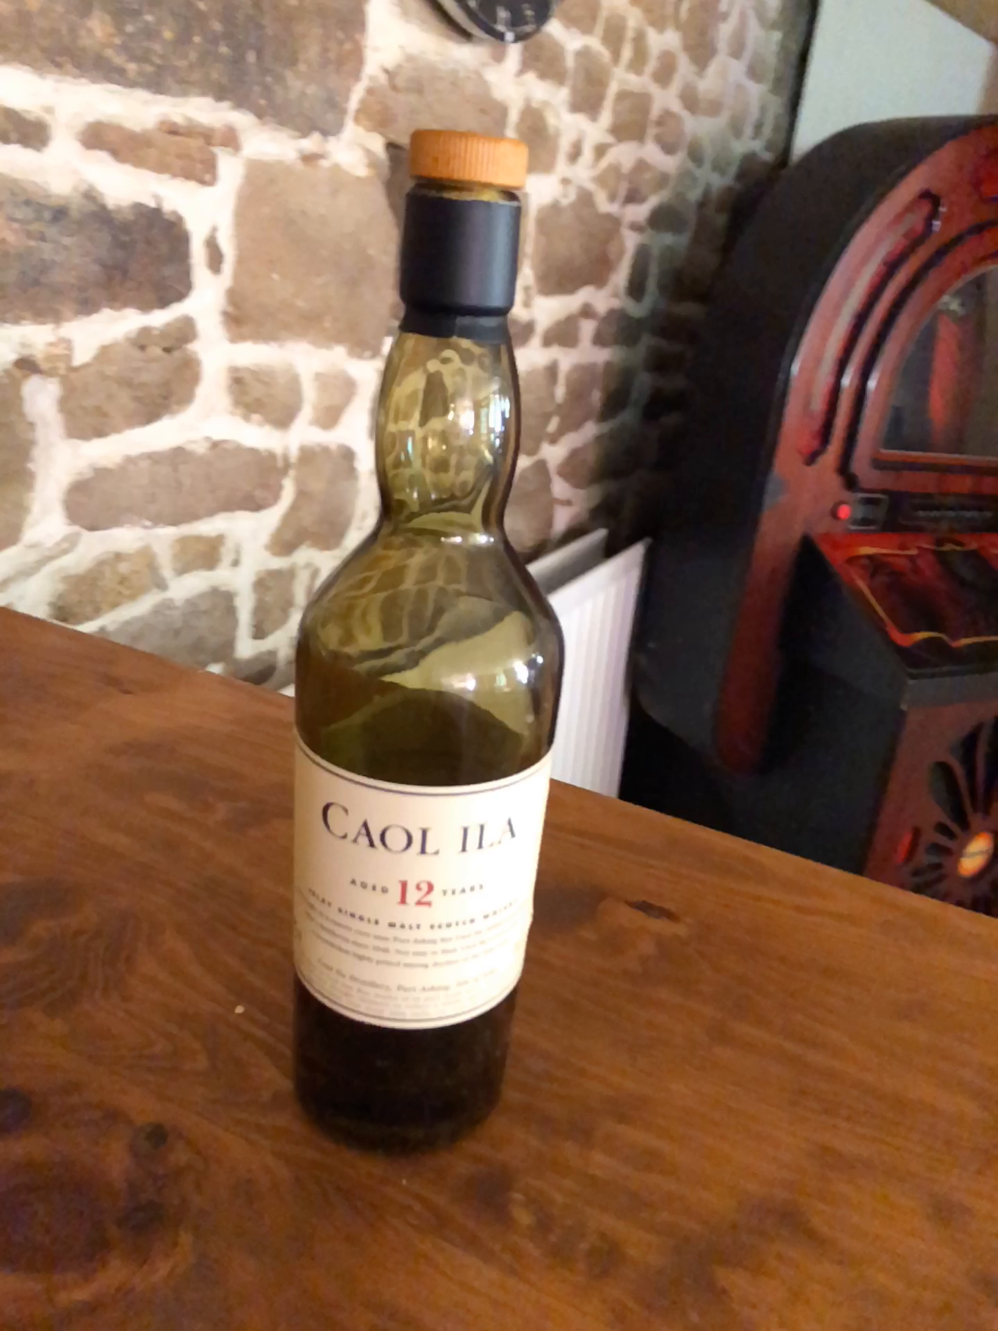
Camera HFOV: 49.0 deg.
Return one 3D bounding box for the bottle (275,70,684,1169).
[{"bbox_3d":[-0.020,0.003,0.320,0.080,0.298,0.070,2,22,-11],"label":"bottle"}]
